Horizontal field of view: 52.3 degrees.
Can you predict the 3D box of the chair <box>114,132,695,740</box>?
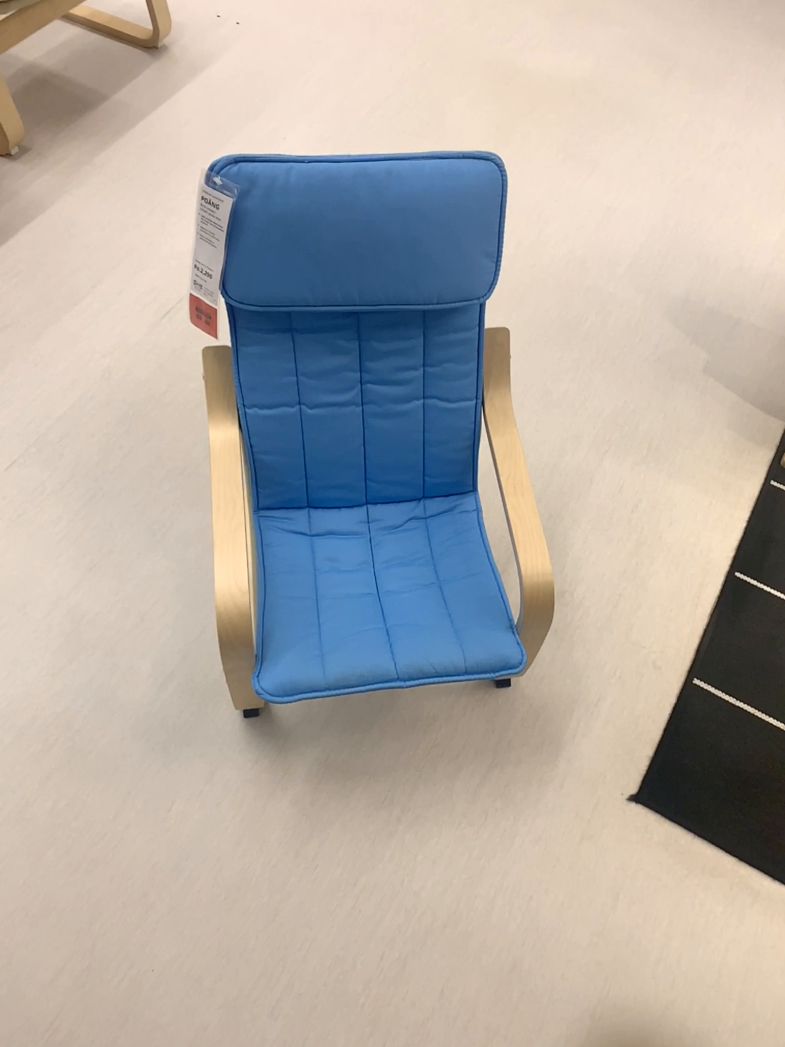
[{"bbox_3d":[-0.028,-0.078,1.095,0.510,0.639,0.501,-5,58,-6],"label":"chair"}]
